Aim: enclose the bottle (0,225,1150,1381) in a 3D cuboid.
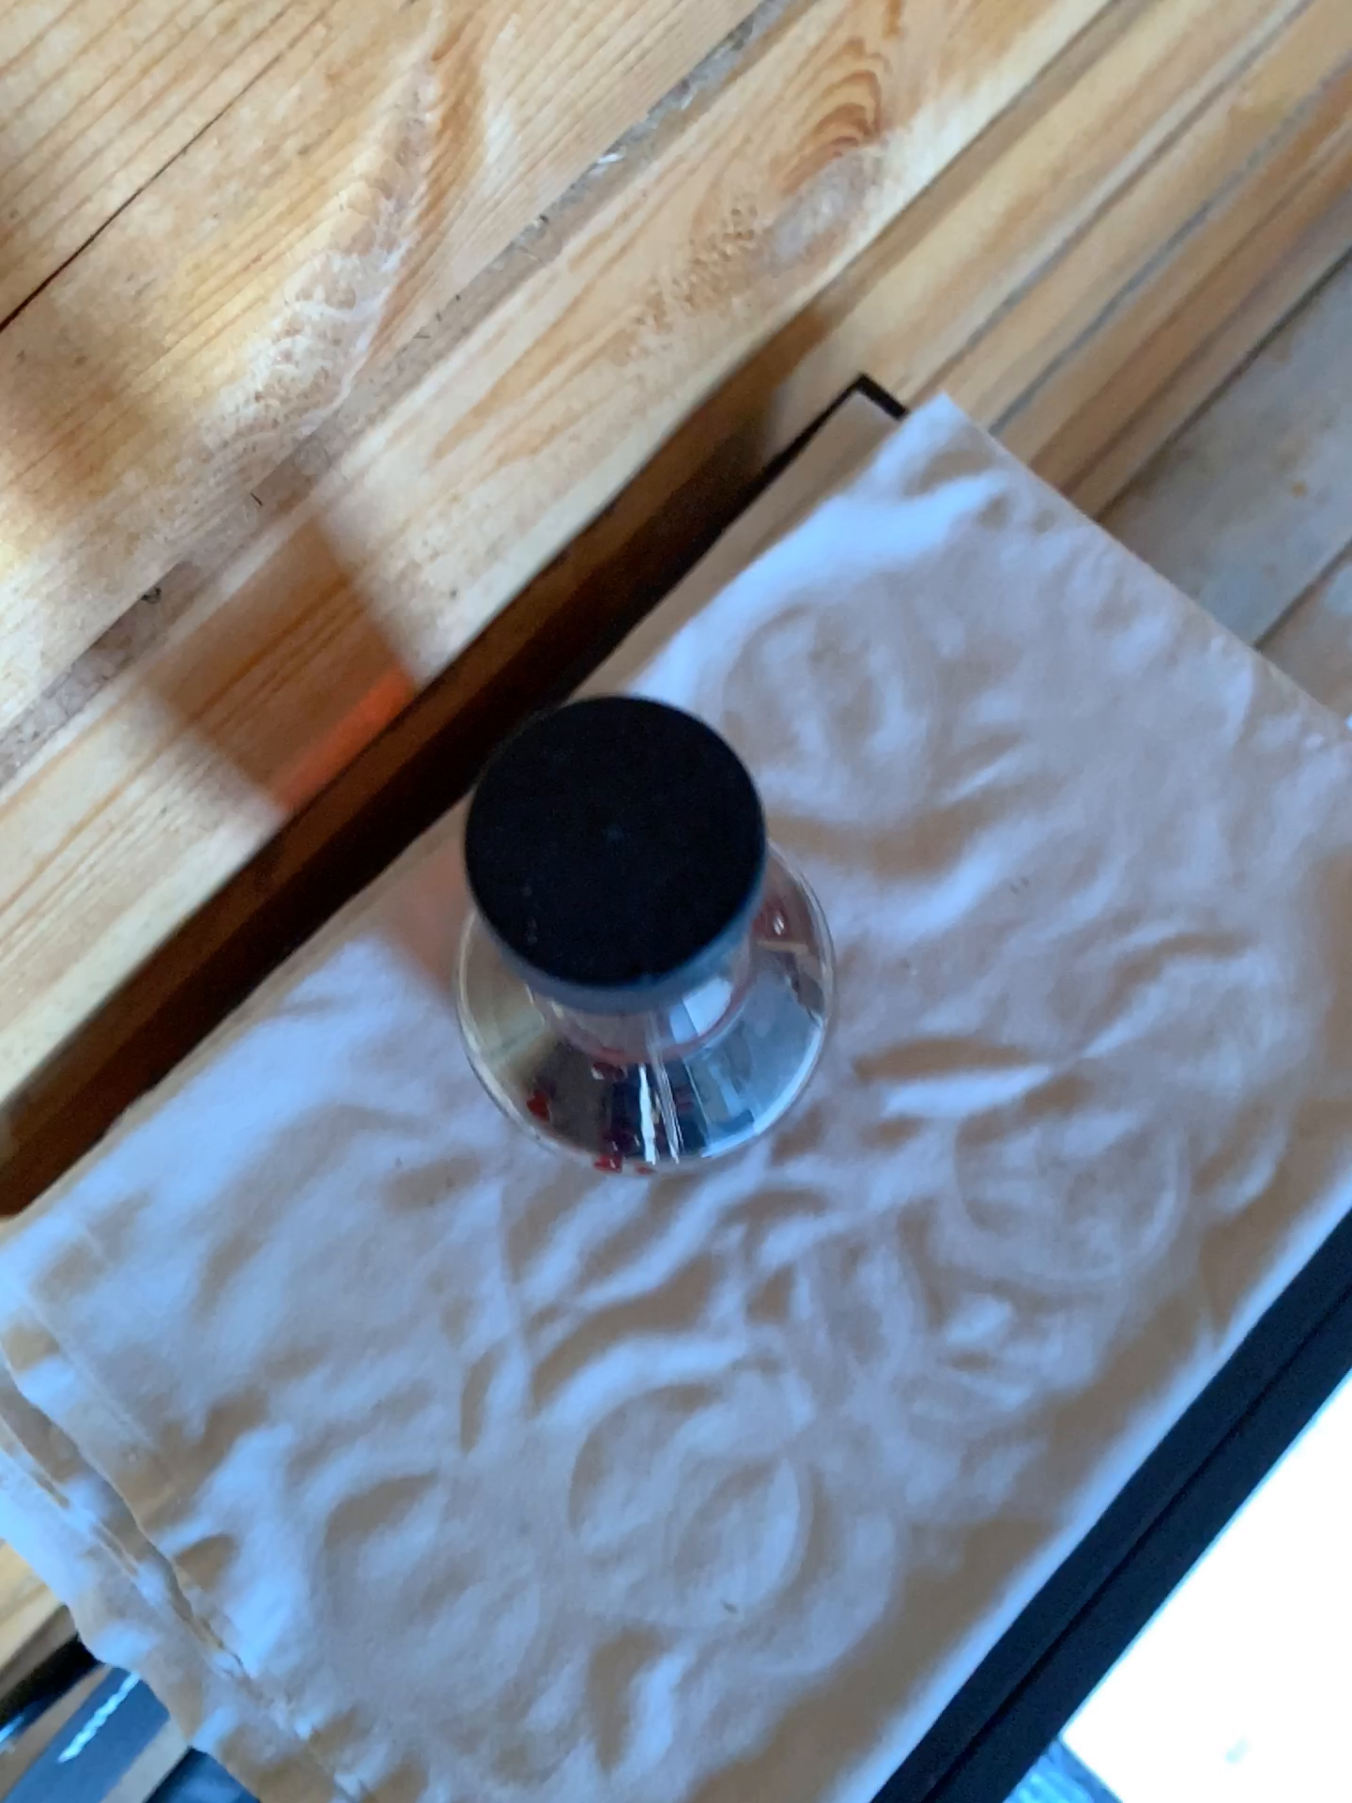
[{"bbox_3d":[-0.005,0.012,0.250,0.070,0.260,0.080,31,81,7],"label":"bottle"}]
